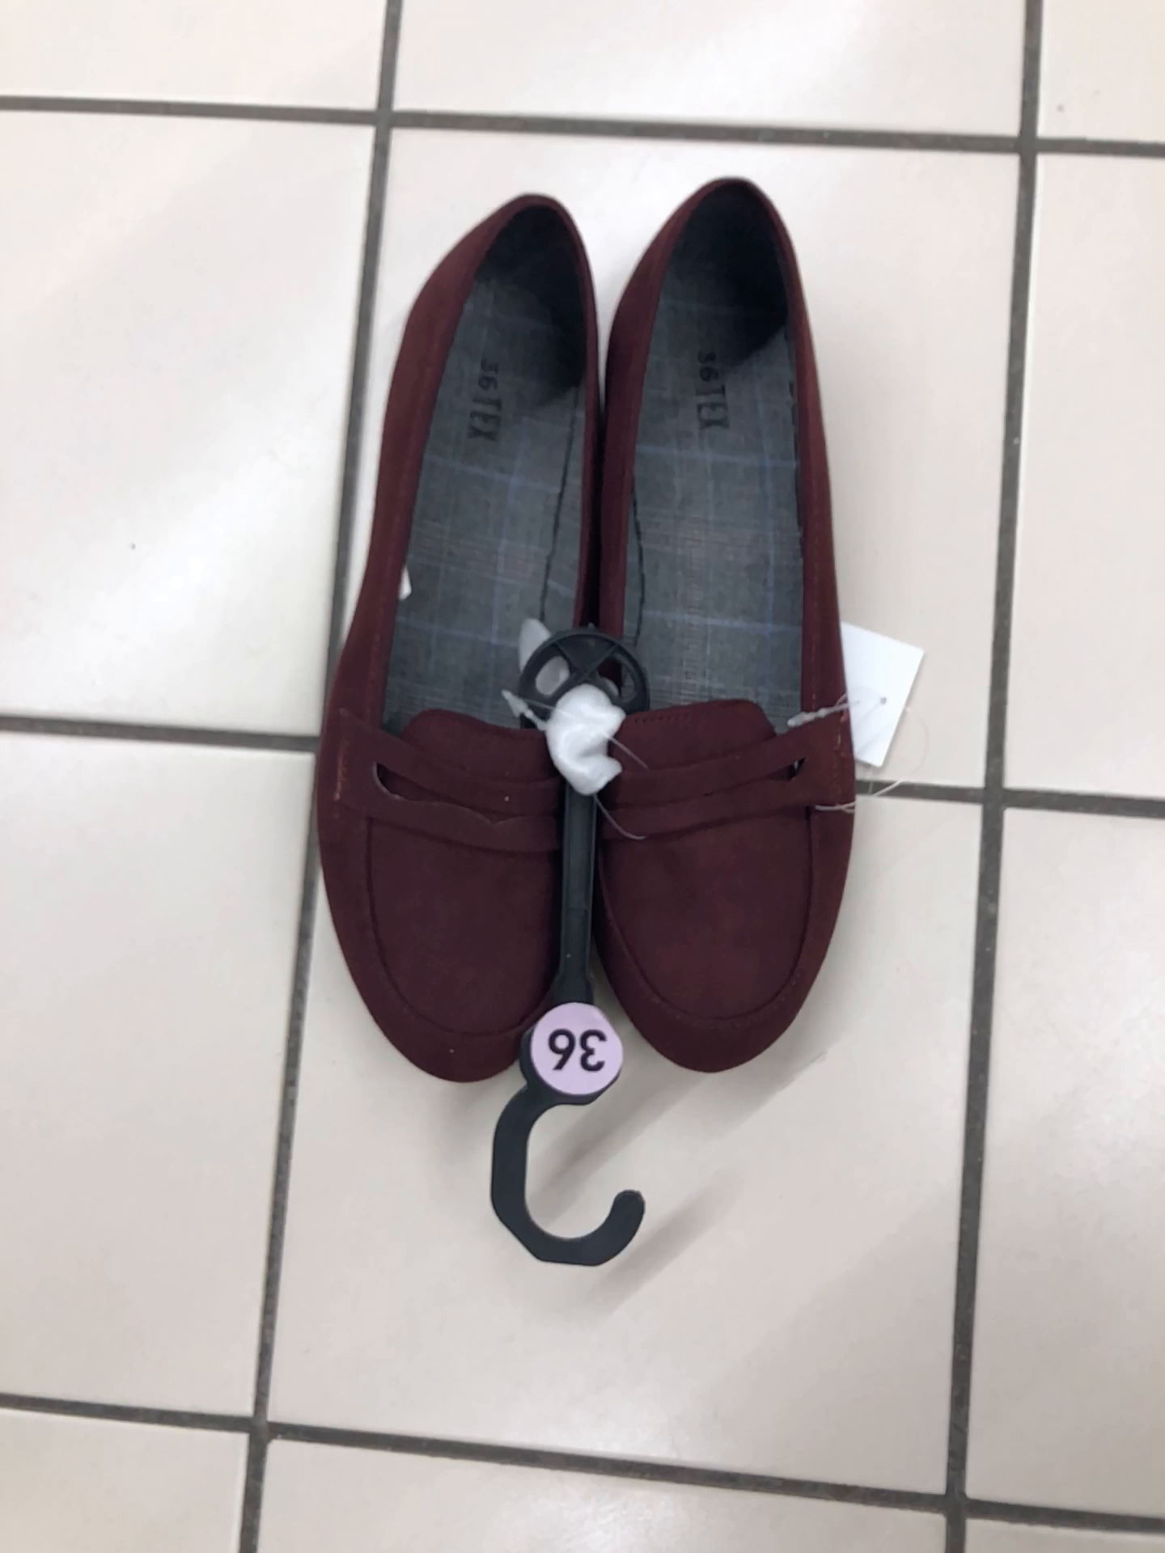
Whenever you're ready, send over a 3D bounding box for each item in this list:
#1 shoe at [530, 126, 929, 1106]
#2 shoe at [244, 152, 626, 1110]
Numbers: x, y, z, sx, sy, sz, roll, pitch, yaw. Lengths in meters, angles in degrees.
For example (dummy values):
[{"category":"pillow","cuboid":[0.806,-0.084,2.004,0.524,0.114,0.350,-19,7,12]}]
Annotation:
[{"category":"shoe","cuboid":[0.036,-0.040,0.347,0.078,0.057,0.239,-4,85,3]},{"category":"shoe","cuboid":[-0.035,-0.039,0.351,0.078,0.057,0.239,3,85,4]}]
